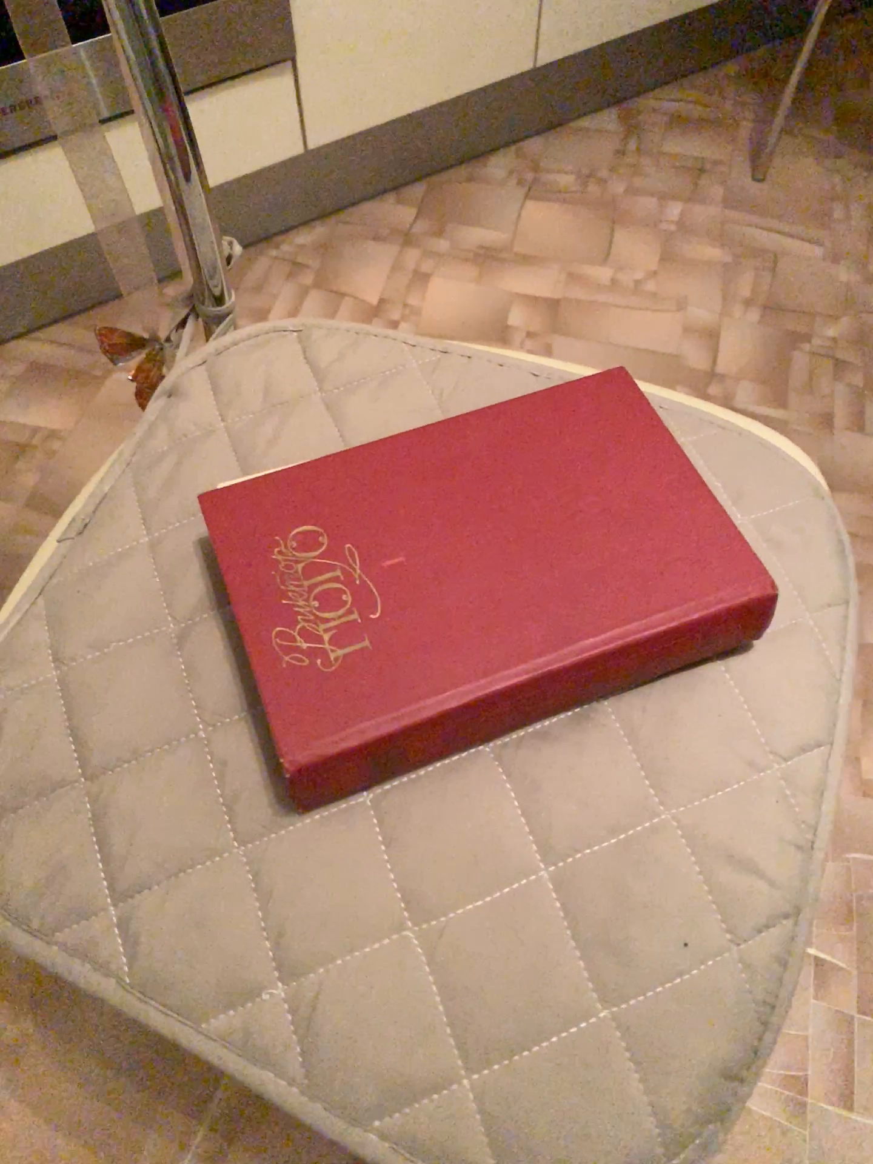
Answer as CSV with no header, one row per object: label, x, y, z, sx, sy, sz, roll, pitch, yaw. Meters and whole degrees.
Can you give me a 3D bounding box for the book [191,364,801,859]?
book,0.018,0.005,0.377,0.200,0.060,0.141,-19,61,-11
